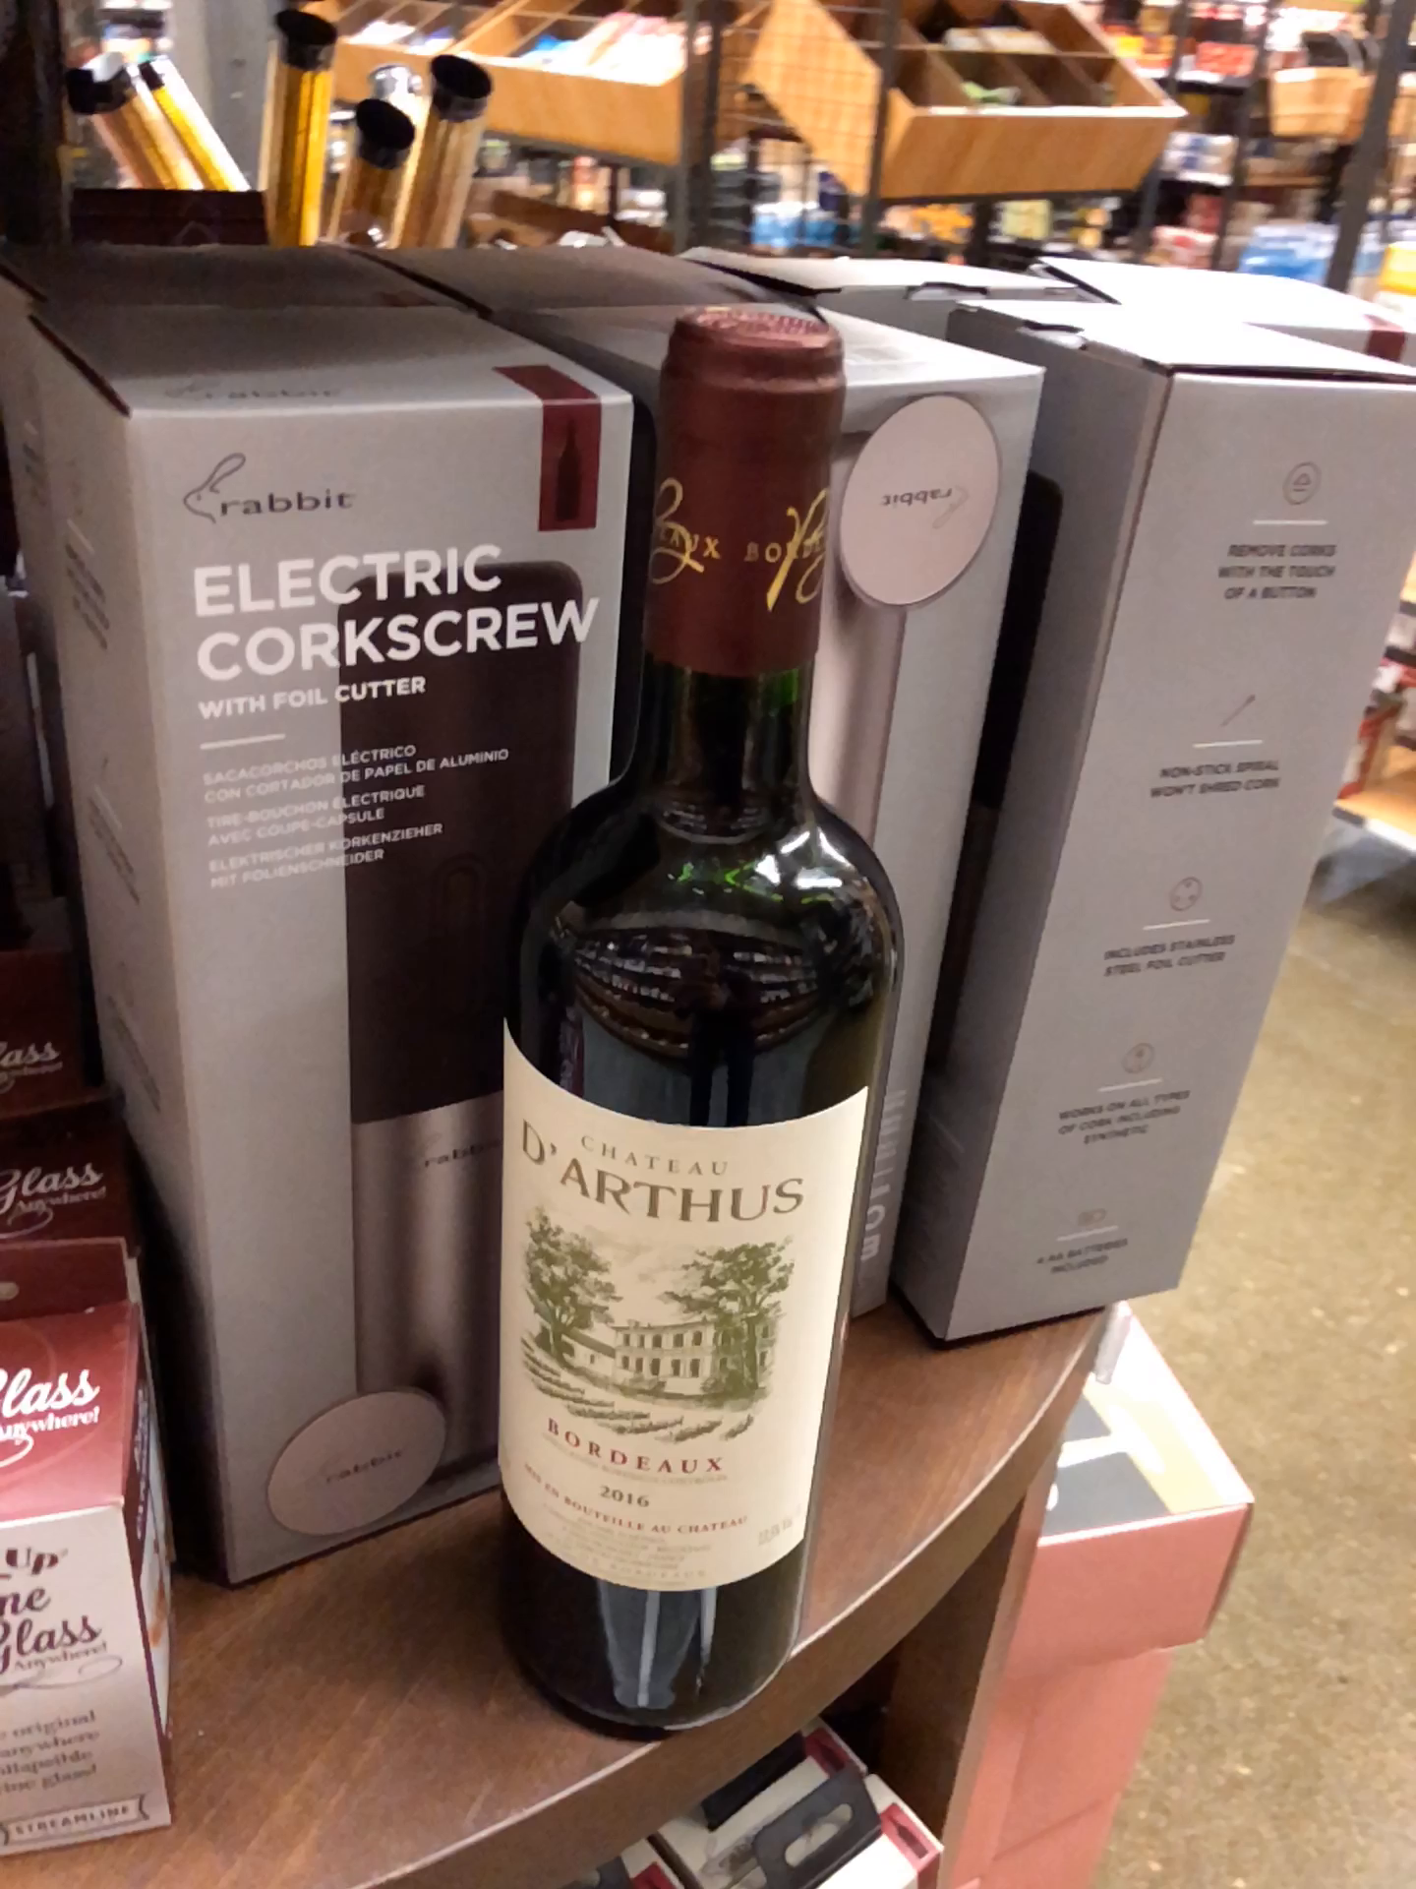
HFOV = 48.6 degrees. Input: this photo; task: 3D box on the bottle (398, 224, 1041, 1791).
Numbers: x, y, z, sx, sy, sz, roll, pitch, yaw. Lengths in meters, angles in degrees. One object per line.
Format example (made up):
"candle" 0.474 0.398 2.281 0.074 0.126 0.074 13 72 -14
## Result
"bottle" -0.004 0.031 0.304 0.080 0.299 0.080 3 30 -2
